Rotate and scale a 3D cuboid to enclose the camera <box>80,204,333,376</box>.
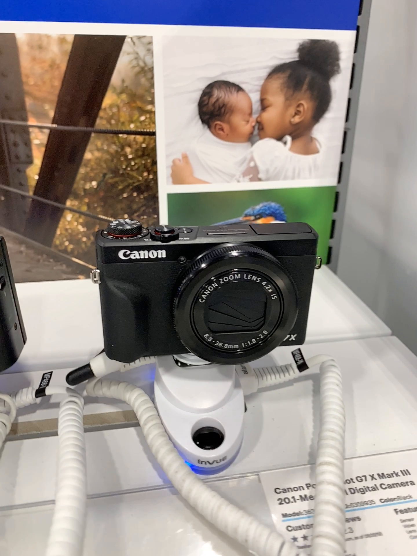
[{"bbox_3d":[-0.002,0.004,0.220,0.110,0.070,0.040,-3,24,-7],"label":"camera"}]
